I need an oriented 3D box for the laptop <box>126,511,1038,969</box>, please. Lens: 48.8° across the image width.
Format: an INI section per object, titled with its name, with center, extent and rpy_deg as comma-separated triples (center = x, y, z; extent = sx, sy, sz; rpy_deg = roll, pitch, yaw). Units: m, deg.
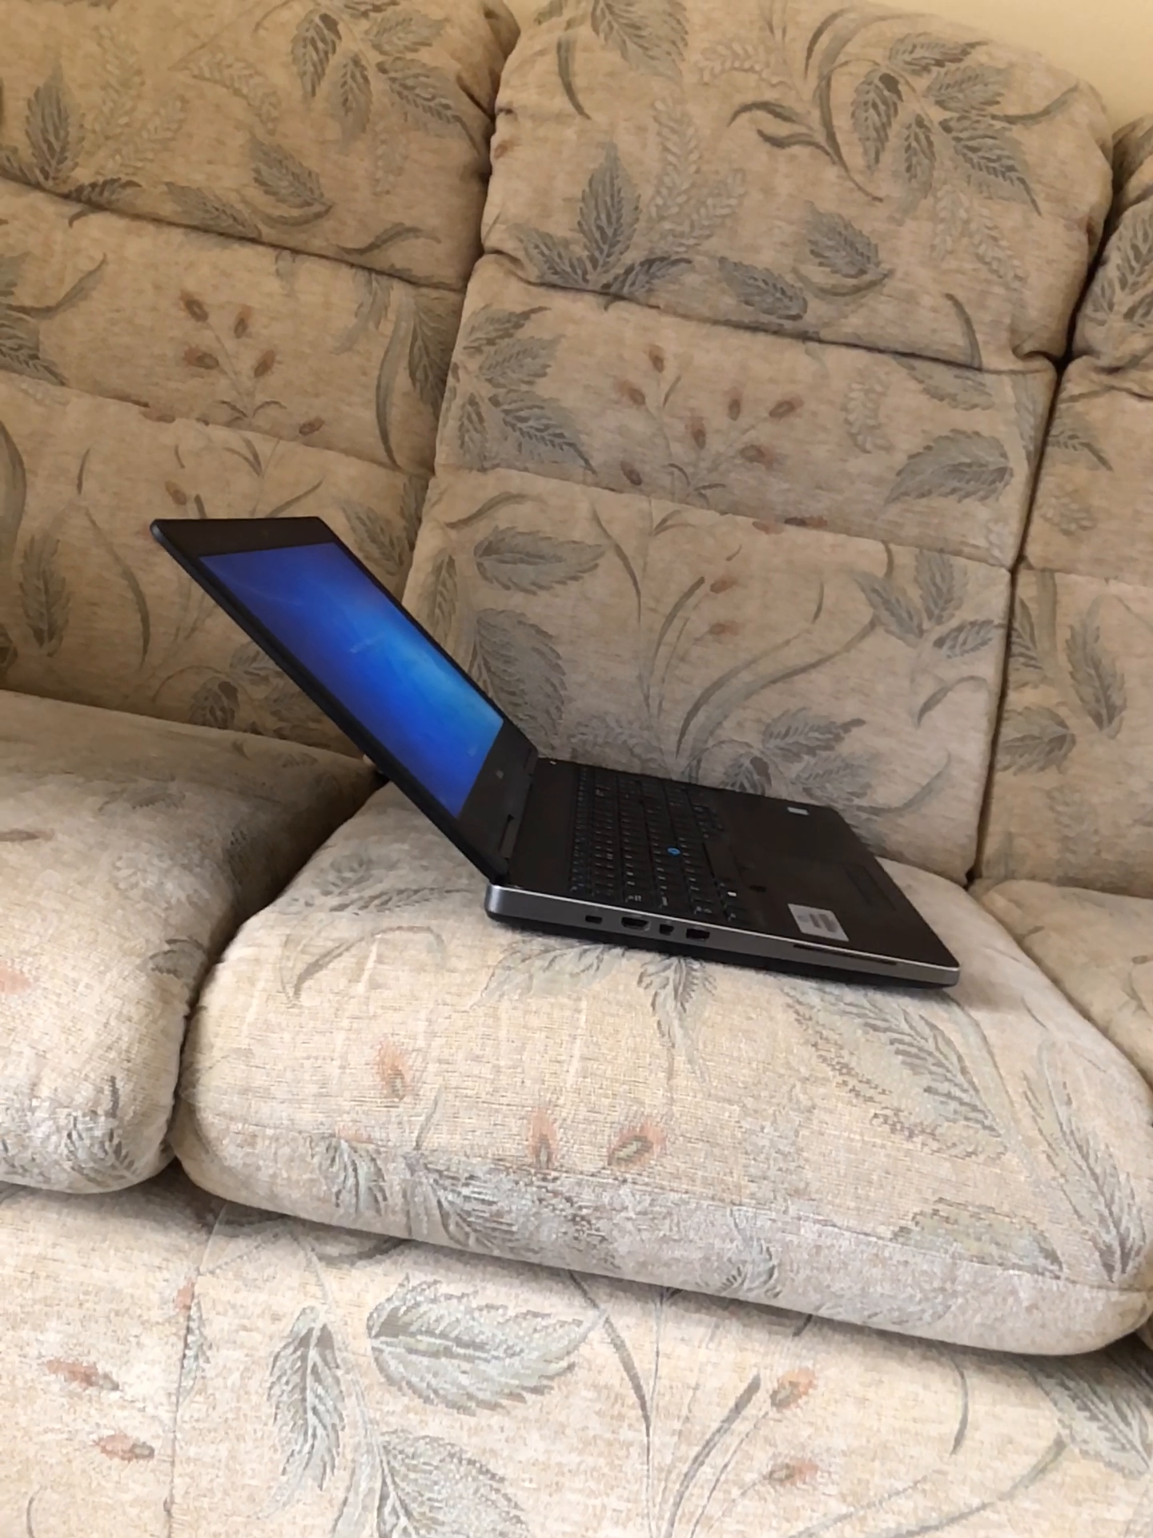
[laptop]
center = -0.004, -0.045, 0.825
extent = 0.451, 0.157, 0.356
rpy_deg = 10, 13, 0
